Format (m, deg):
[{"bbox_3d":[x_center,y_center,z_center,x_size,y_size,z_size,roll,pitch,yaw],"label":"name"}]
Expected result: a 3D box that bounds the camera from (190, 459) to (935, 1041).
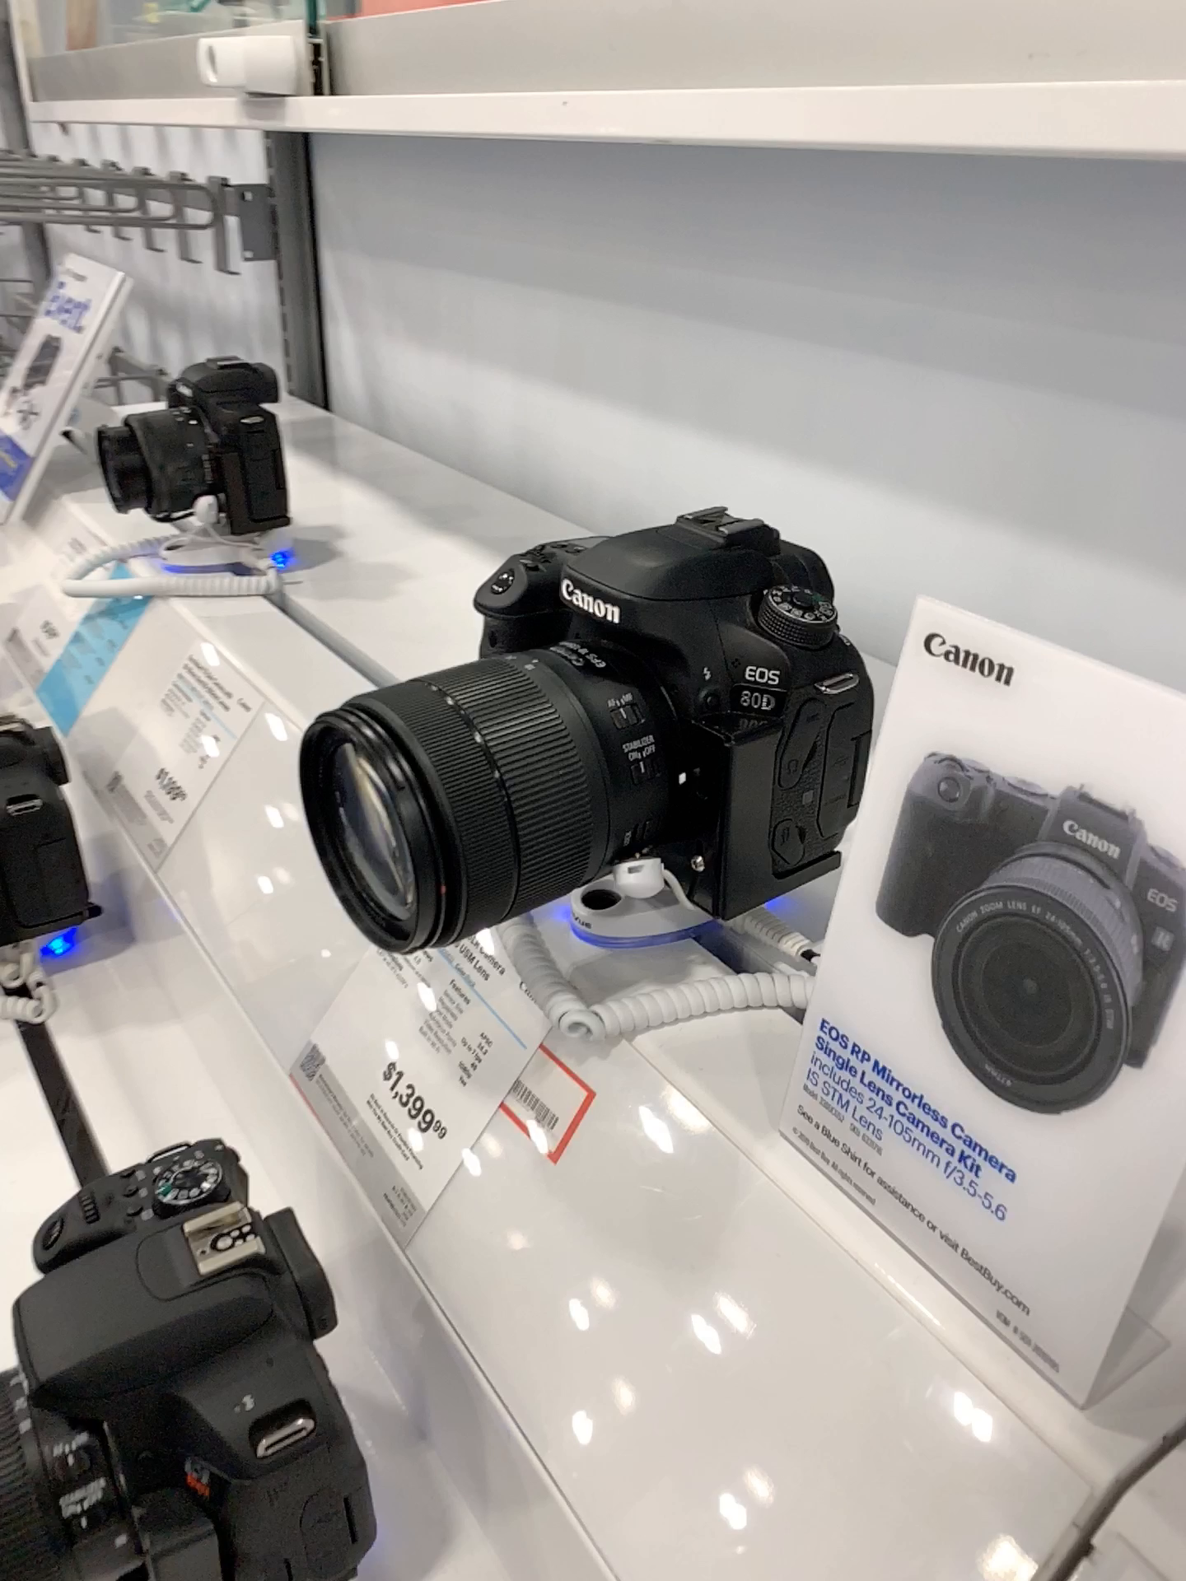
[{"bbox_3d":[-0.012,-0.031,0.393,0.170,0.099,0.151,-19,34,-33],"label":"camera"}]
